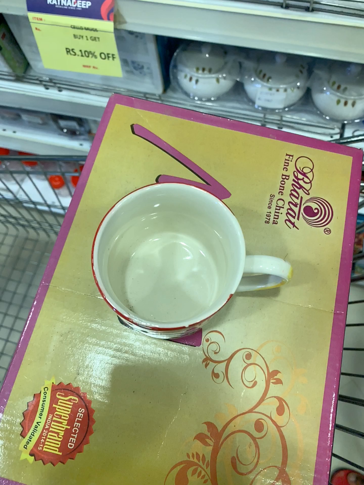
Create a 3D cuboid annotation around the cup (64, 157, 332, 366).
[{"bbox_3d":[0.010,0.016,0.201,0.110,0.070,0.080,9,71,1],"label":"cup"}]
